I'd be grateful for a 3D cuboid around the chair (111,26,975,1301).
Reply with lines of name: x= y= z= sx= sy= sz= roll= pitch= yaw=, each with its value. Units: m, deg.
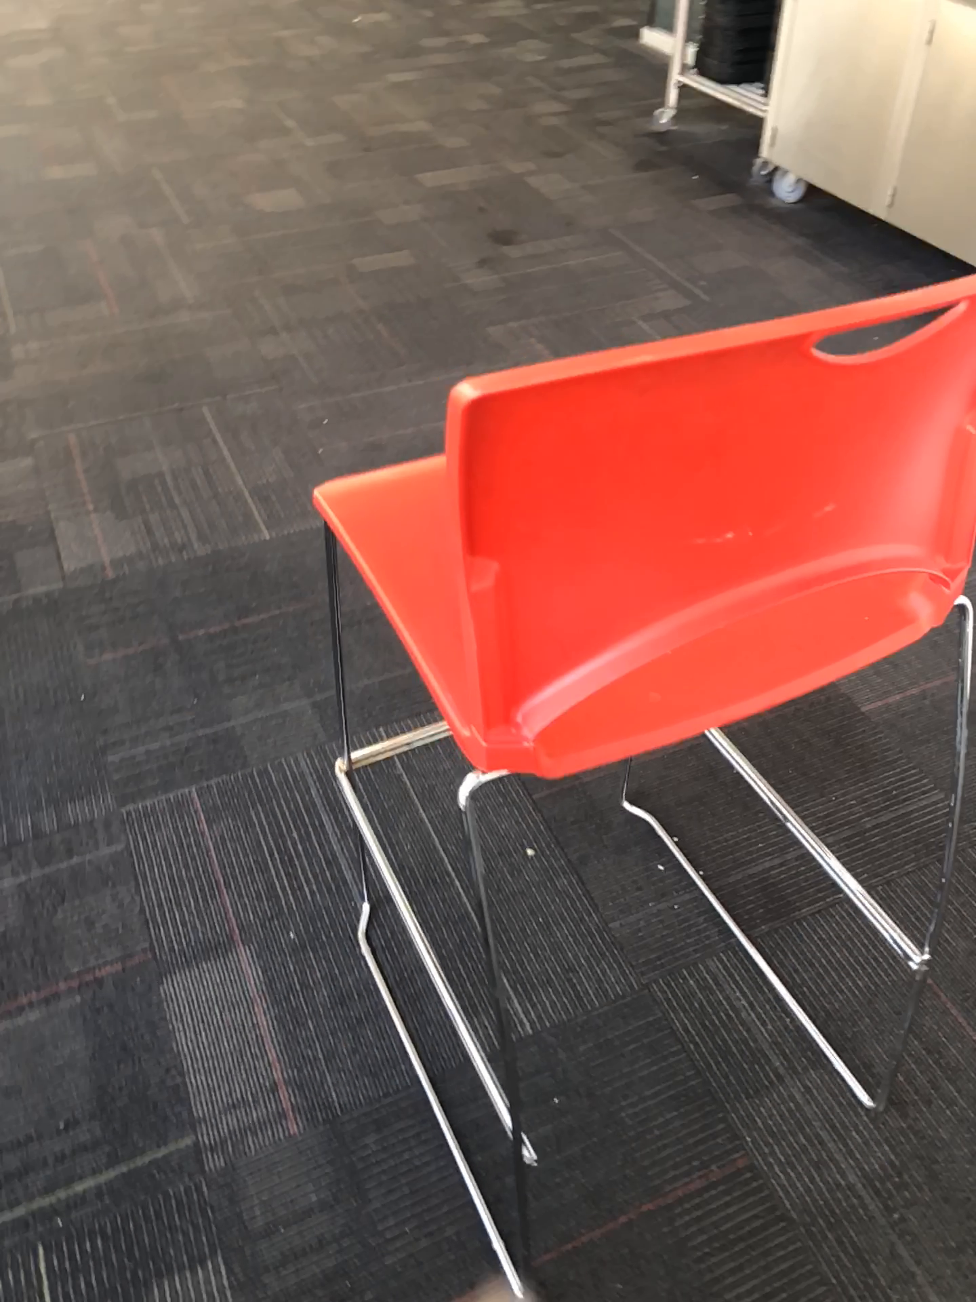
chair: x=0.127 y=0.053 z=1.047 sx=0.590 sy=0.995 sz=0.663 roll=-20 pitch=45 yaw=-21
